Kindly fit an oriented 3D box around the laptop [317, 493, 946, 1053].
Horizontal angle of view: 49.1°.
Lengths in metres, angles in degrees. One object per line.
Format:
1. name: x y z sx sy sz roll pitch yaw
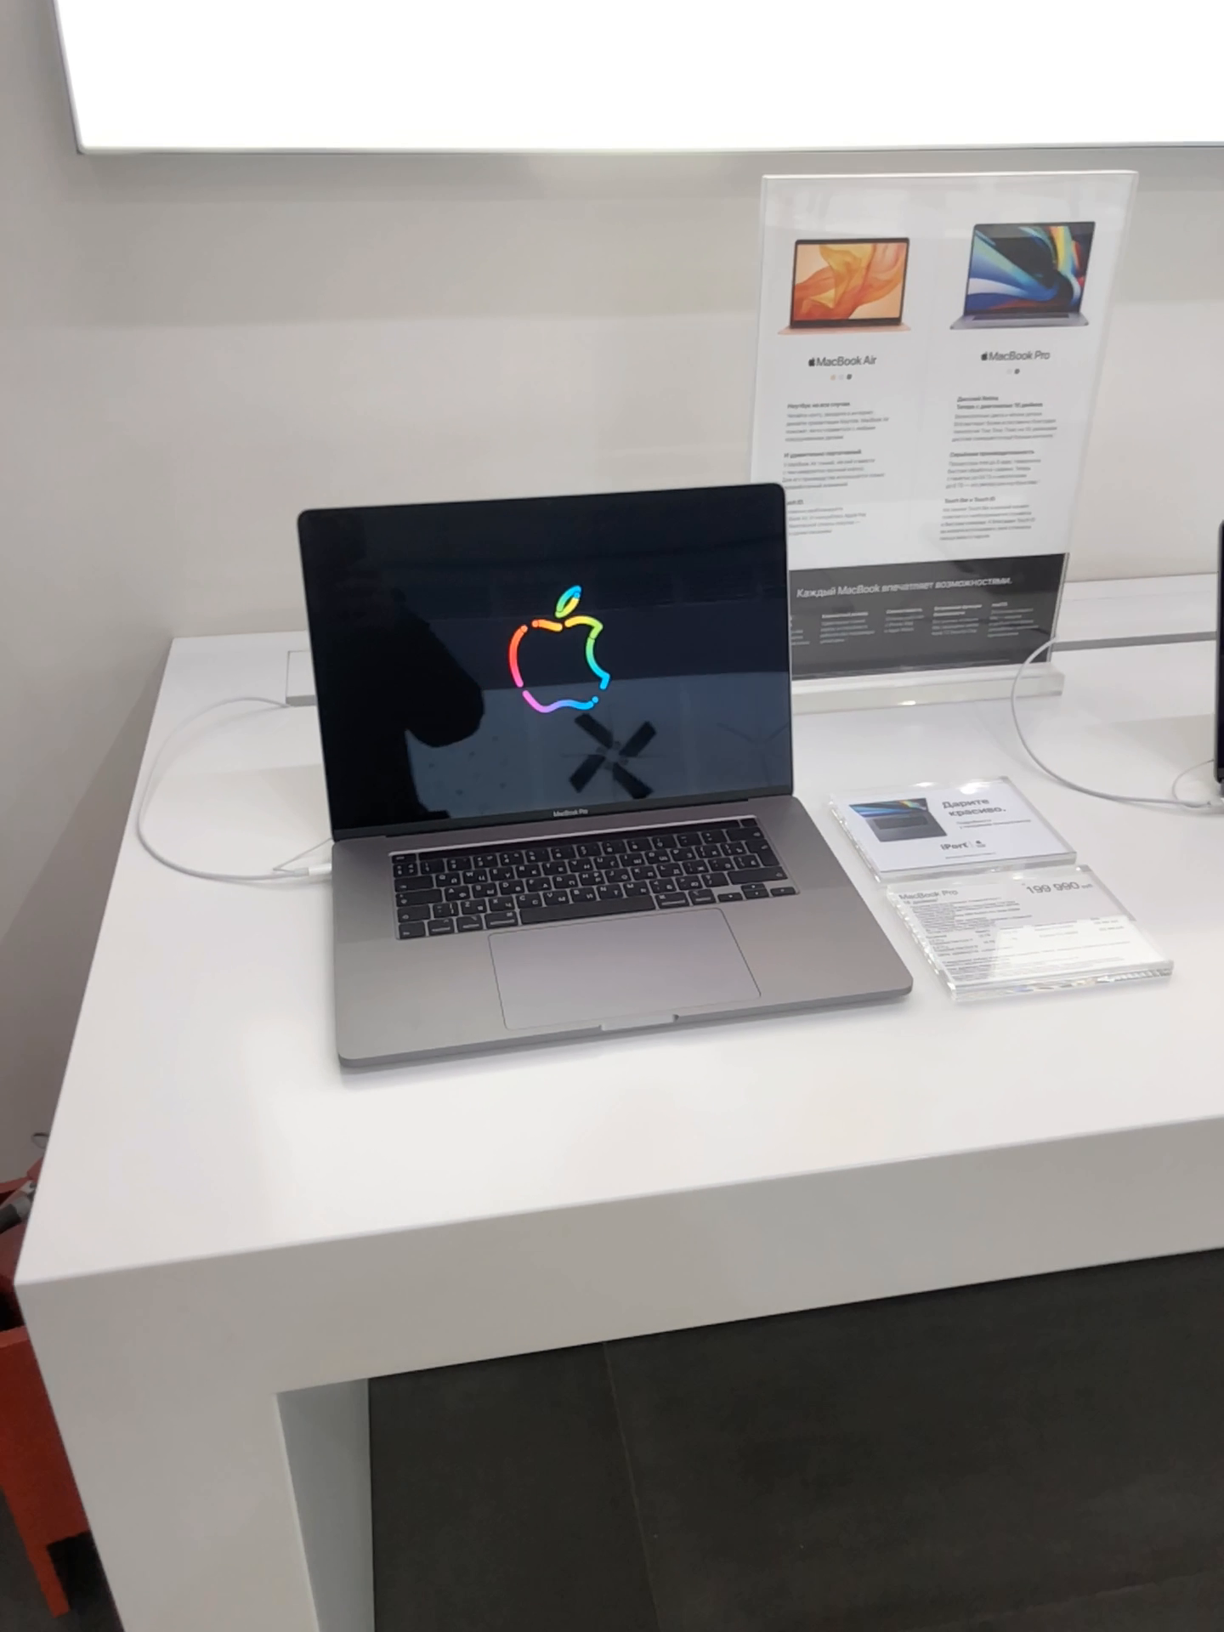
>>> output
1. laptop: -0.012 -0.050 0.877 0.328 0.209 0.311 -6 31 -10
